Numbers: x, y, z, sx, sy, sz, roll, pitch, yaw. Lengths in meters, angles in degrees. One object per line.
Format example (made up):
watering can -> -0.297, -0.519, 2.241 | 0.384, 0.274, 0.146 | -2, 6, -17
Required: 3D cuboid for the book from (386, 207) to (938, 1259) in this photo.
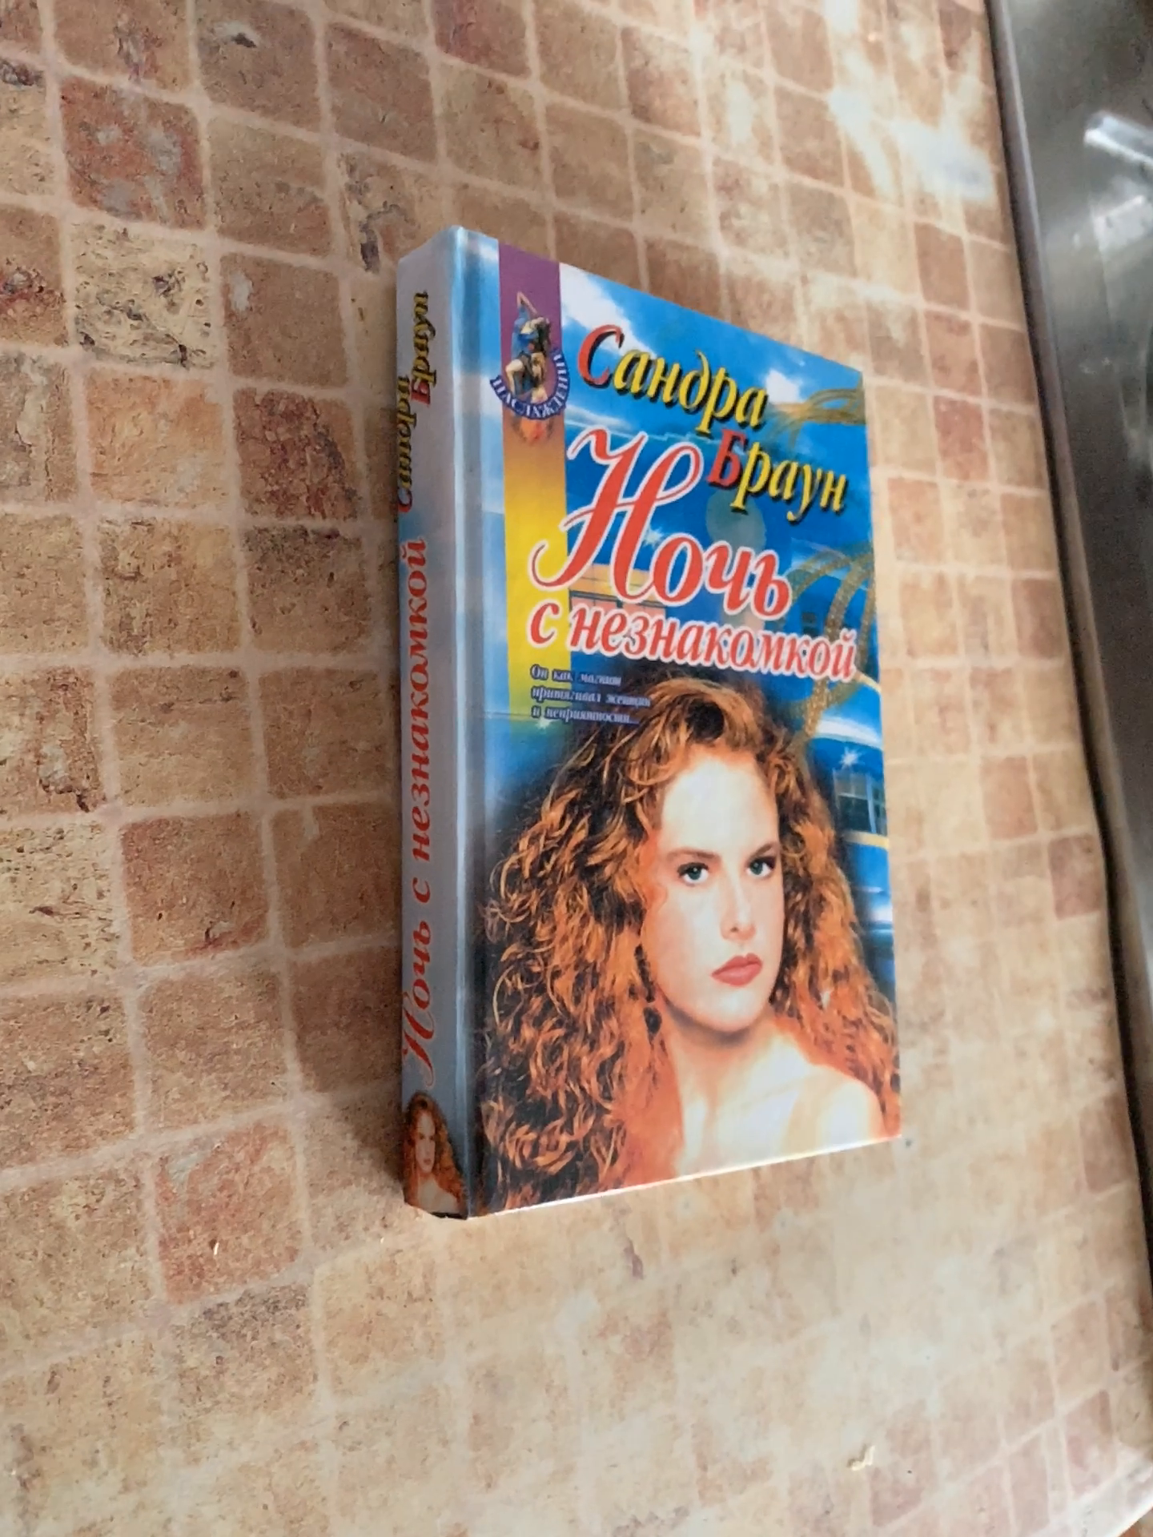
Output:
book -> 0.023, -0.007, 0.272 | 0.131, 0.029, 0.197 | 3, 82, -36
